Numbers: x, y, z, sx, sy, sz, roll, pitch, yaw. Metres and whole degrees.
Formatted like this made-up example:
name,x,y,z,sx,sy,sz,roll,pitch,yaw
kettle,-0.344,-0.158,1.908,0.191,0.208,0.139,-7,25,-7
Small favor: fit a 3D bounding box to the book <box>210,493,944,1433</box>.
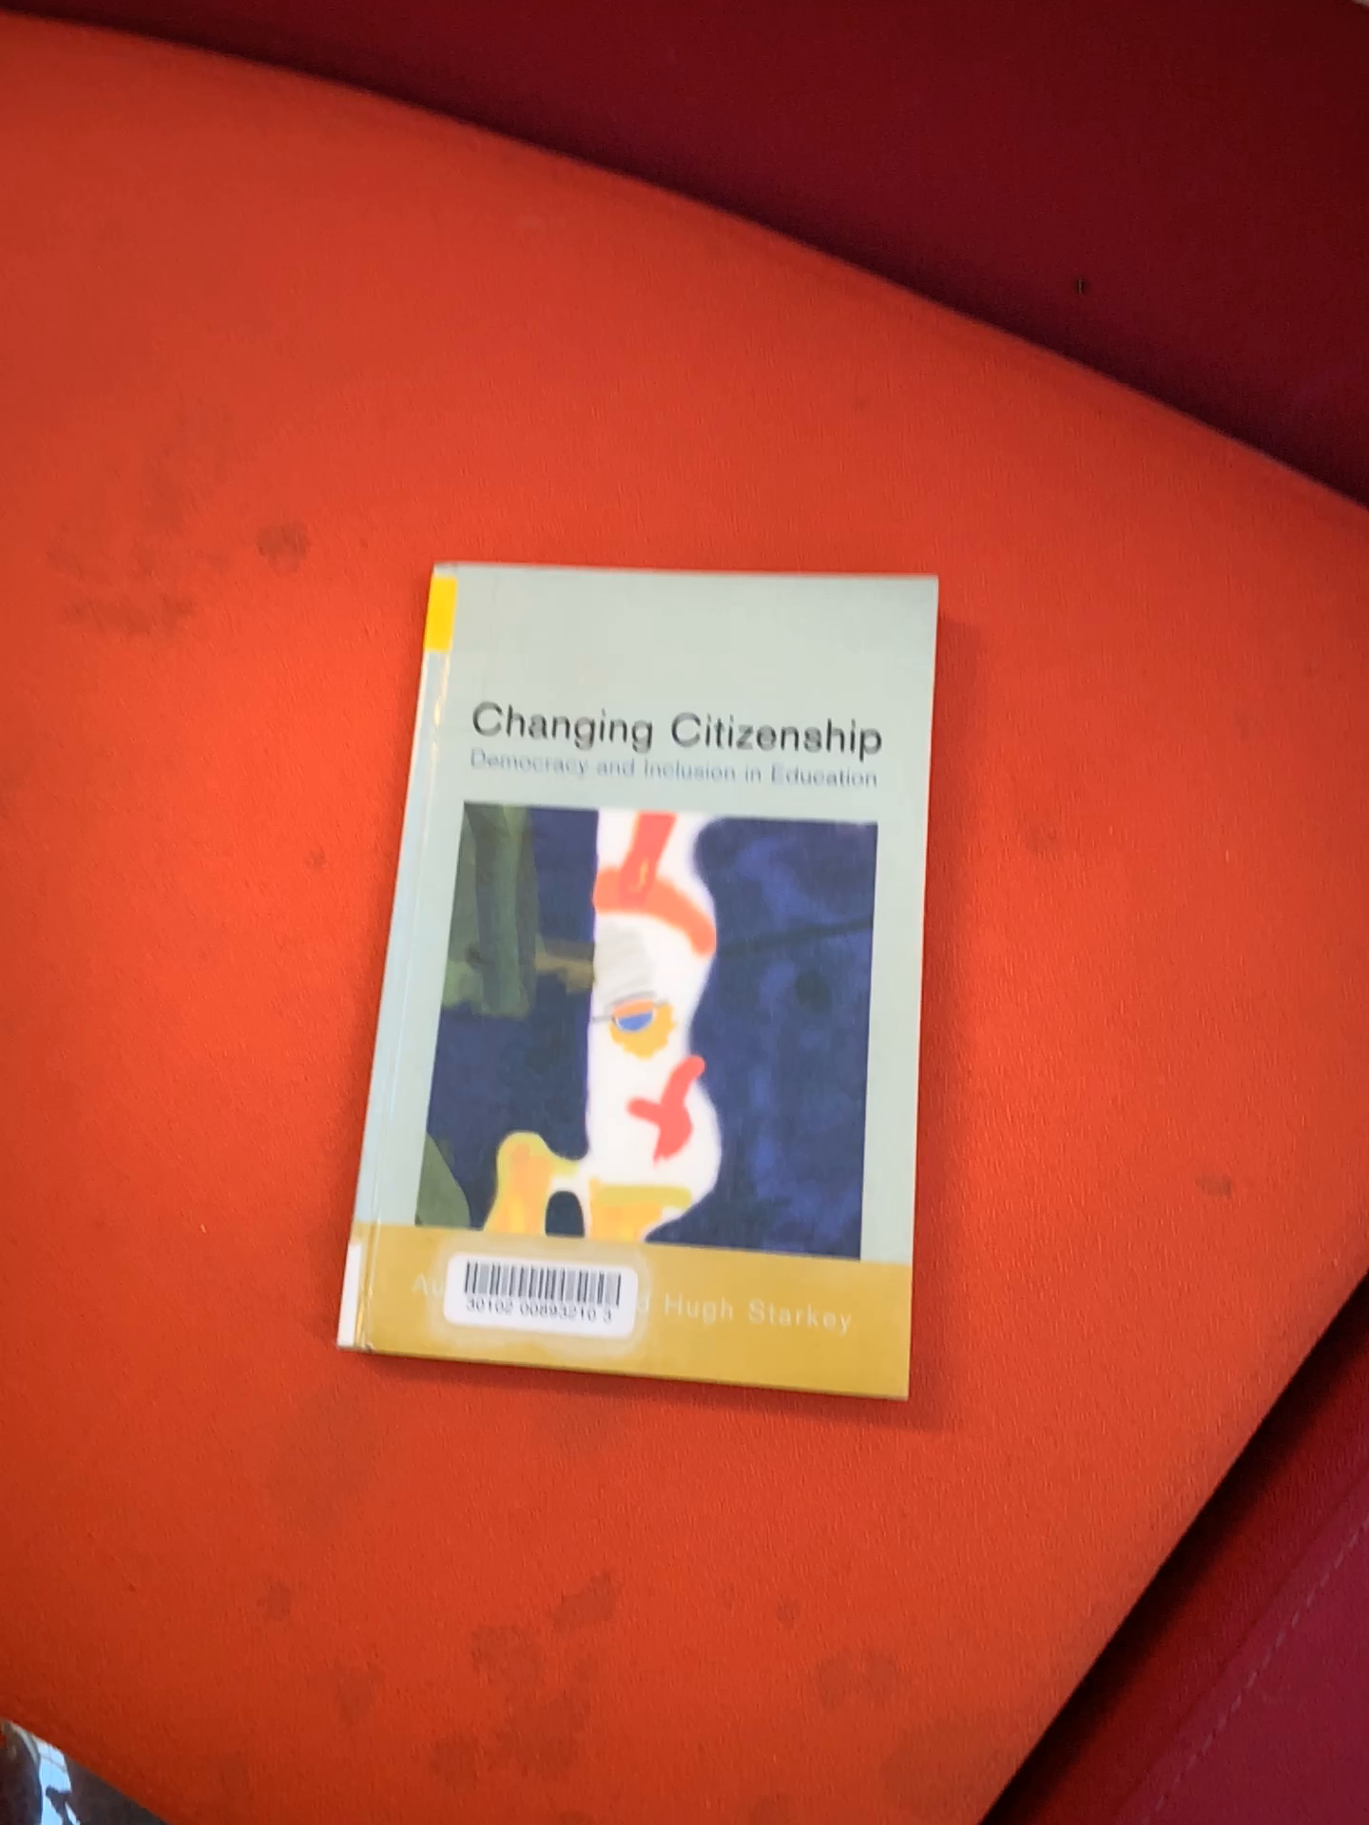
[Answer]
name,x,y,z,sx,sy,sz,roll,pitch,yaw
book,-0.023,0.006,0.401,0.180,0.040,0.250,3,77,5
